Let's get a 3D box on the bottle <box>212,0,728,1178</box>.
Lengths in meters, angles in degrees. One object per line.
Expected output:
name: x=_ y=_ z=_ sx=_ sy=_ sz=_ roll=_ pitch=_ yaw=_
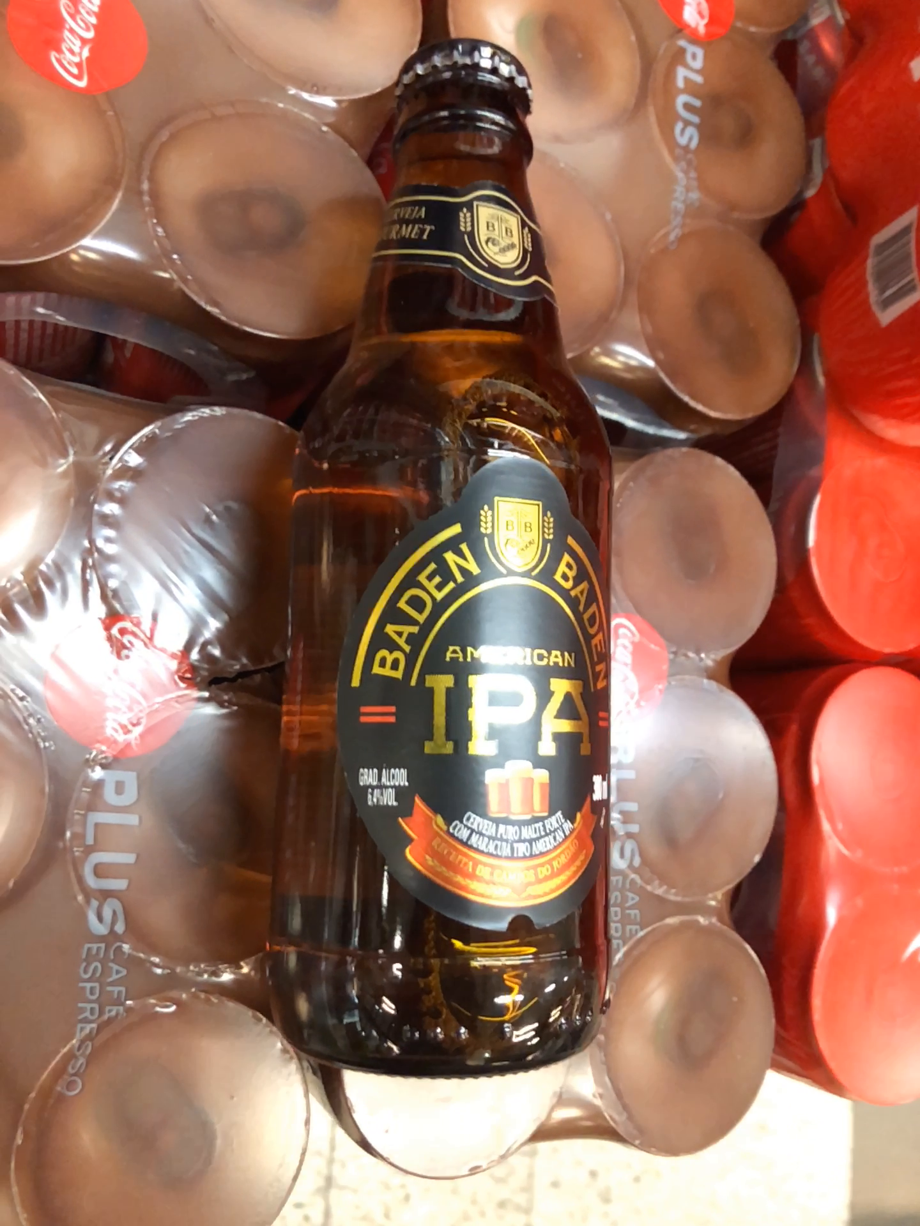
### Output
bottle: x=0.002 y=-0.026 z=0.185 sx=0.070 sy=0.050 sz=0.210 roll=5 pitch=81 yaw=-24
